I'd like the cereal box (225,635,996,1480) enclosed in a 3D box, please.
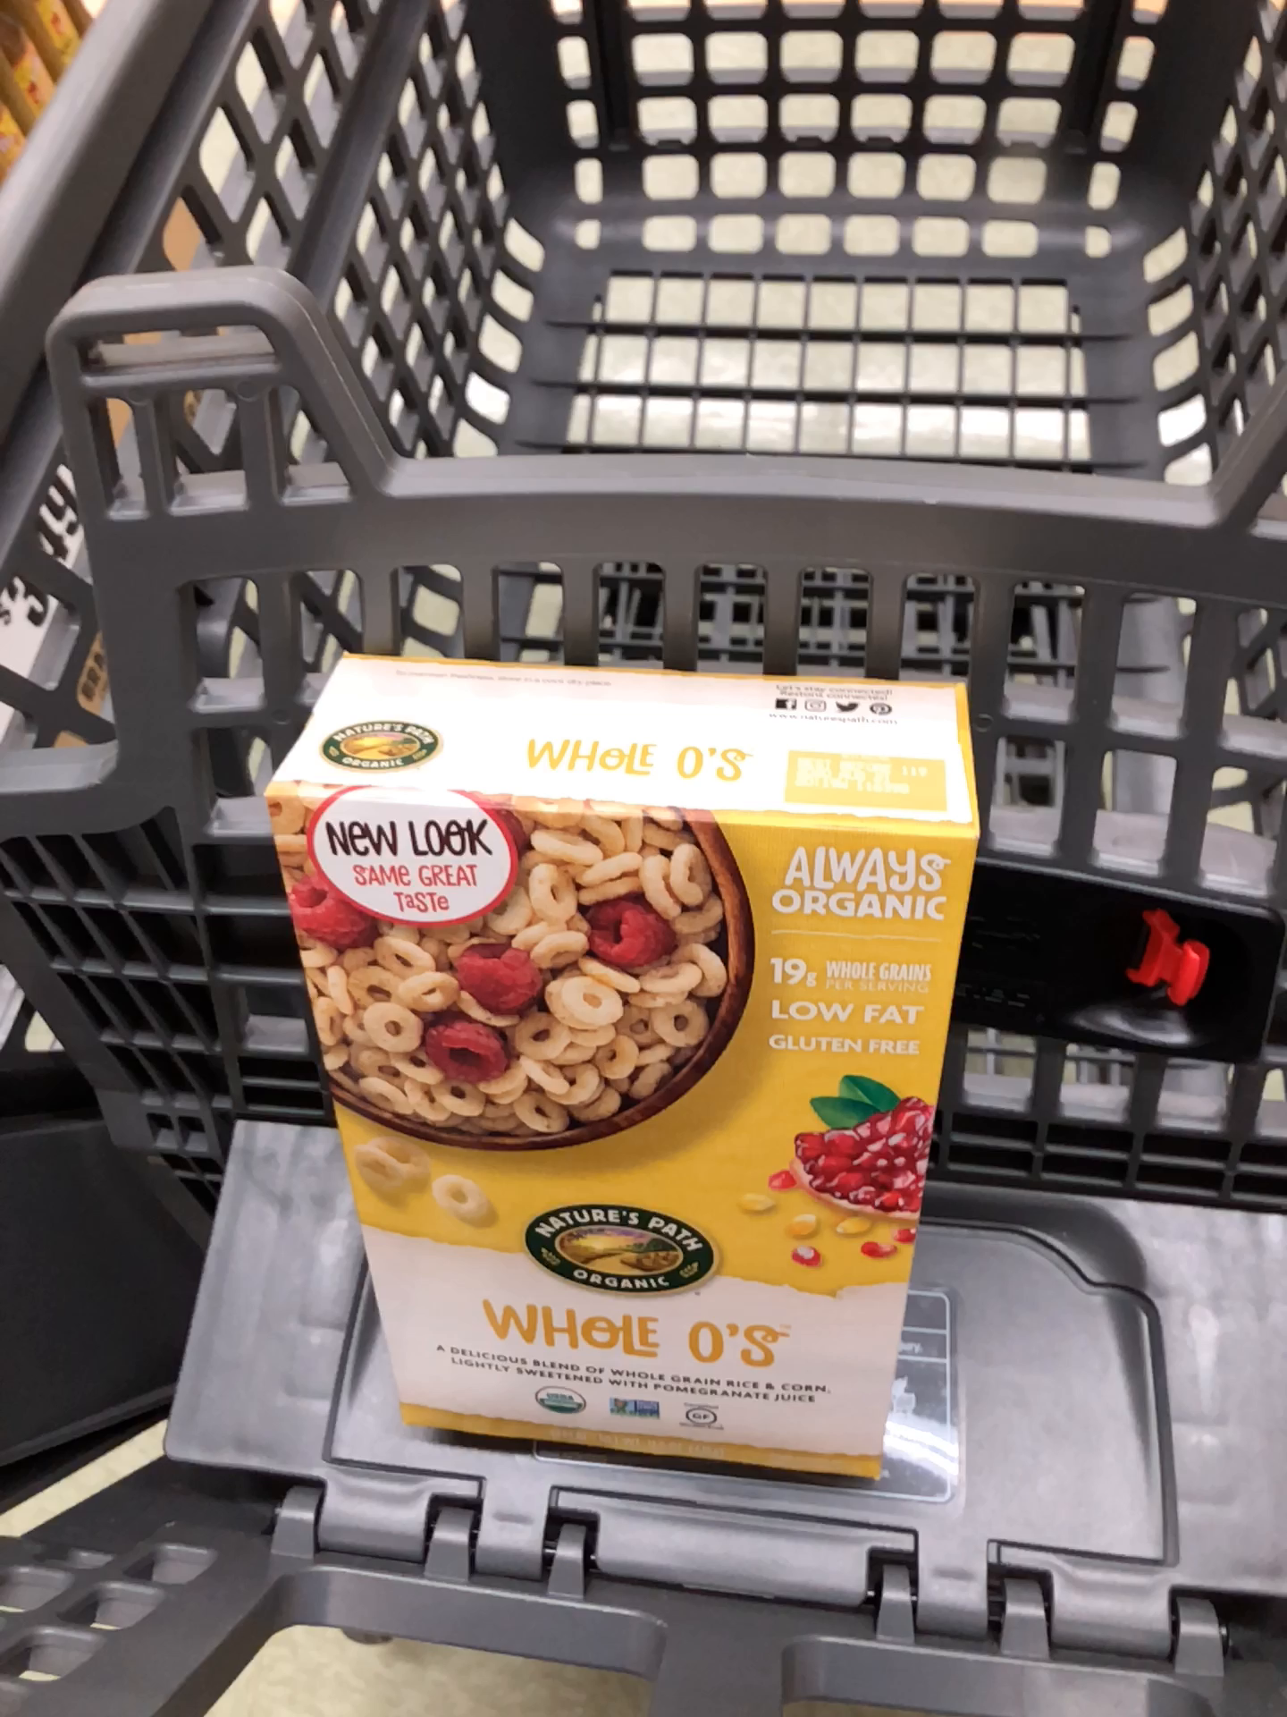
[{"bbox_3d":[-0.003,0.068,0.394,0.160,0.250,0.060,4,39,7],"label":"cereal box"}]
